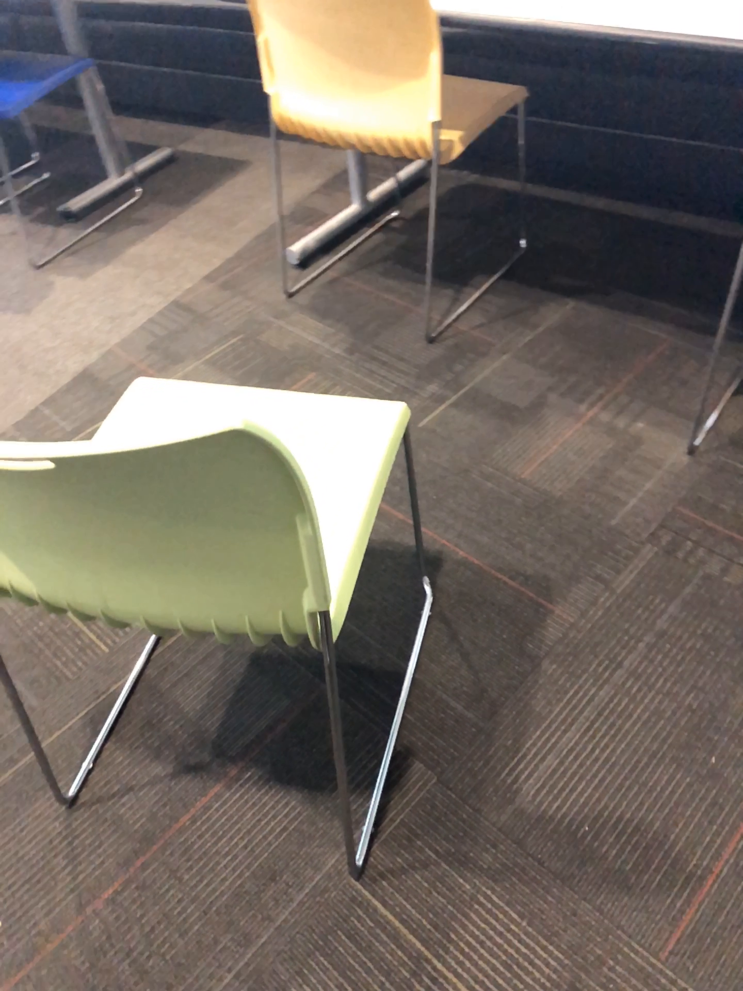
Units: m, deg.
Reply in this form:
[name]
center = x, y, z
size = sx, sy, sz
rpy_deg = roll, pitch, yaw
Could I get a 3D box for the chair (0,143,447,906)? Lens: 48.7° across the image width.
[chair]
center = -0.239, 0.042, 1.053
size = 0.541, 0.757, 0.542
rpy_deg = 7, 46, 15
